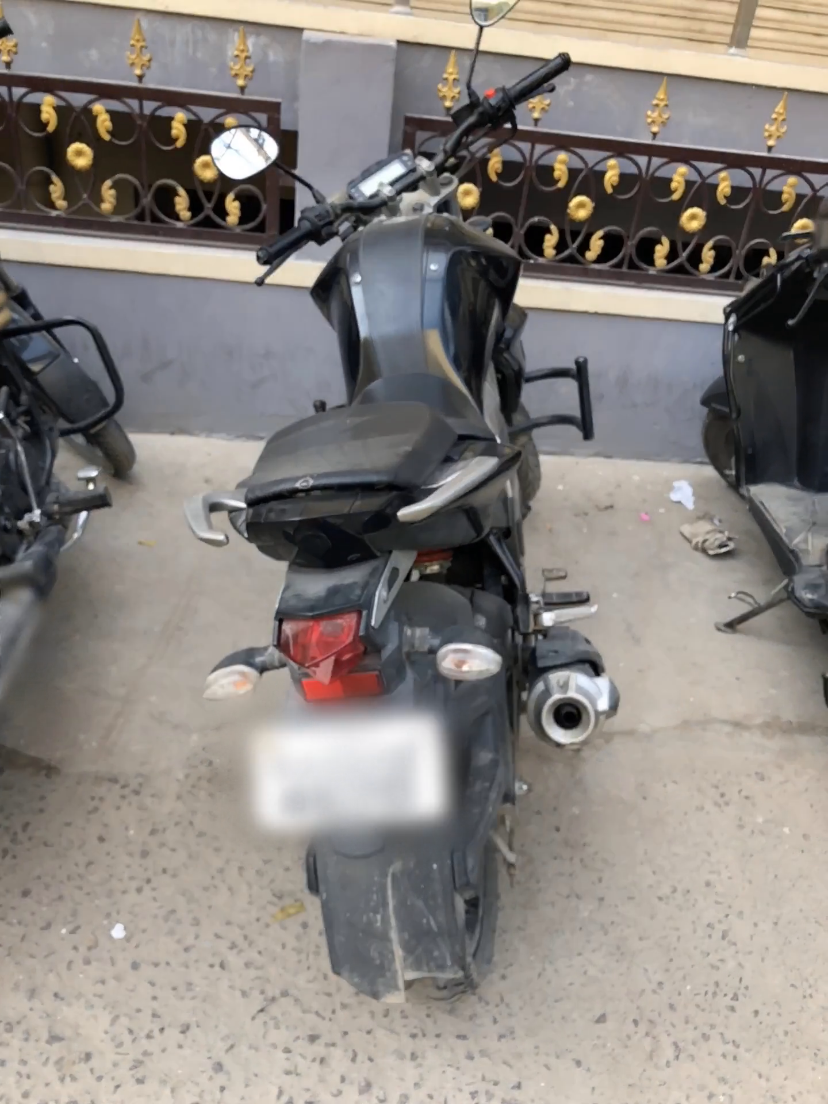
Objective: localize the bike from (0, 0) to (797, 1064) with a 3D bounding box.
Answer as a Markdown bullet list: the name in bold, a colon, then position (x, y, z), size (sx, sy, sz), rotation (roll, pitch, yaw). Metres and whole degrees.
- **bike**: position (-0.143, -0.308, 1.741), size (0.692, 1.197, 1.767), rotation (5, 33, -4)
